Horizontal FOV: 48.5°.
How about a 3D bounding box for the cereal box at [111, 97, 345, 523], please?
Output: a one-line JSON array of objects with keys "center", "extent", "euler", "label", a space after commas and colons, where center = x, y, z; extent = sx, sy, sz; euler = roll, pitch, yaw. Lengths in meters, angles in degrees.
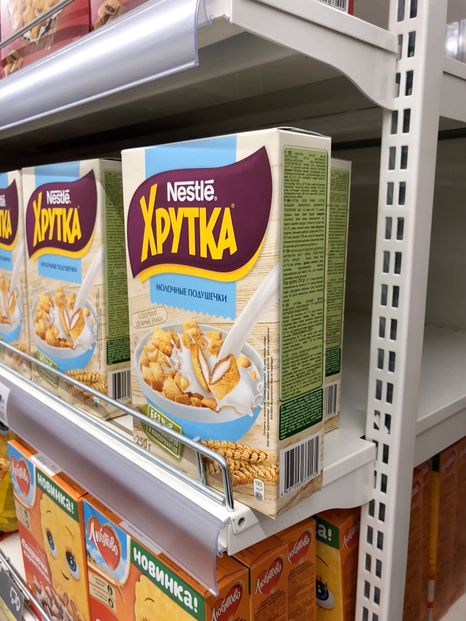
[{"center": [-0.011, -0.006, 0.332], "extent": [0.150, 0.219, 0.050], "euler": [10, 14, 44], "label": "cereal box"}]
